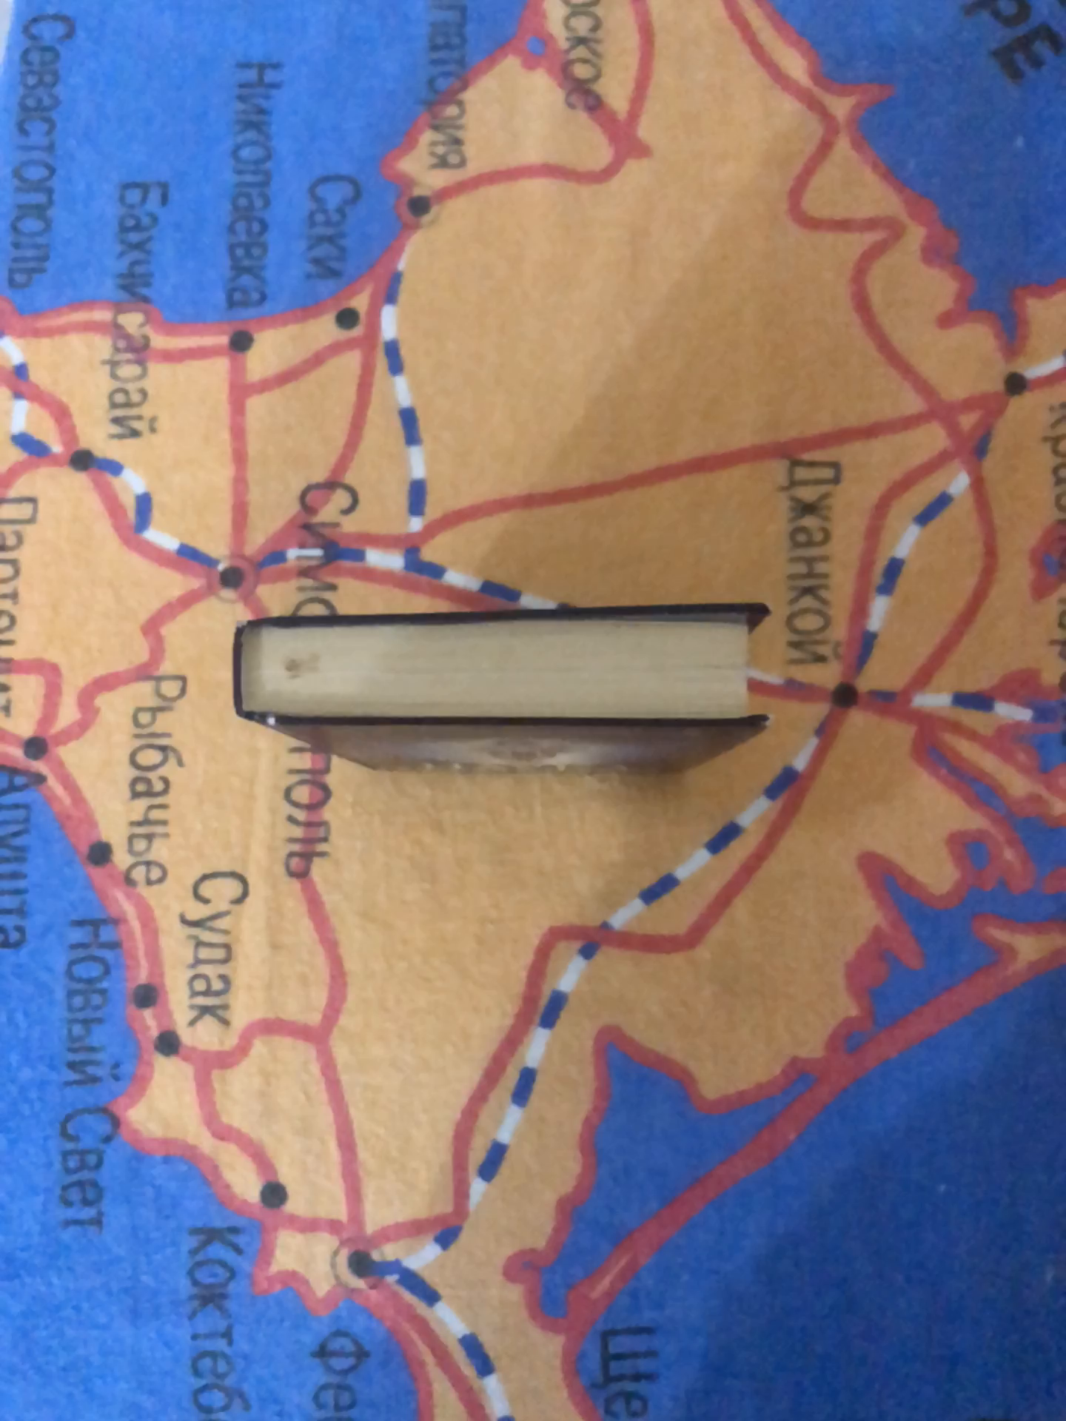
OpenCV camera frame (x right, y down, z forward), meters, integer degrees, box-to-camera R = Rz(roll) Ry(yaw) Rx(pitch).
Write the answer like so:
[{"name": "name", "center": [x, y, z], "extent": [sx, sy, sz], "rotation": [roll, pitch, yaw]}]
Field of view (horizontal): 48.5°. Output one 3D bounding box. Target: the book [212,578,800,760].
[{"name": "book", "center": [-0.005, -0.006, 0.386], "extent": [0.140, 0.207, 0.030], "rotation": [-1, 84, 1]}]
